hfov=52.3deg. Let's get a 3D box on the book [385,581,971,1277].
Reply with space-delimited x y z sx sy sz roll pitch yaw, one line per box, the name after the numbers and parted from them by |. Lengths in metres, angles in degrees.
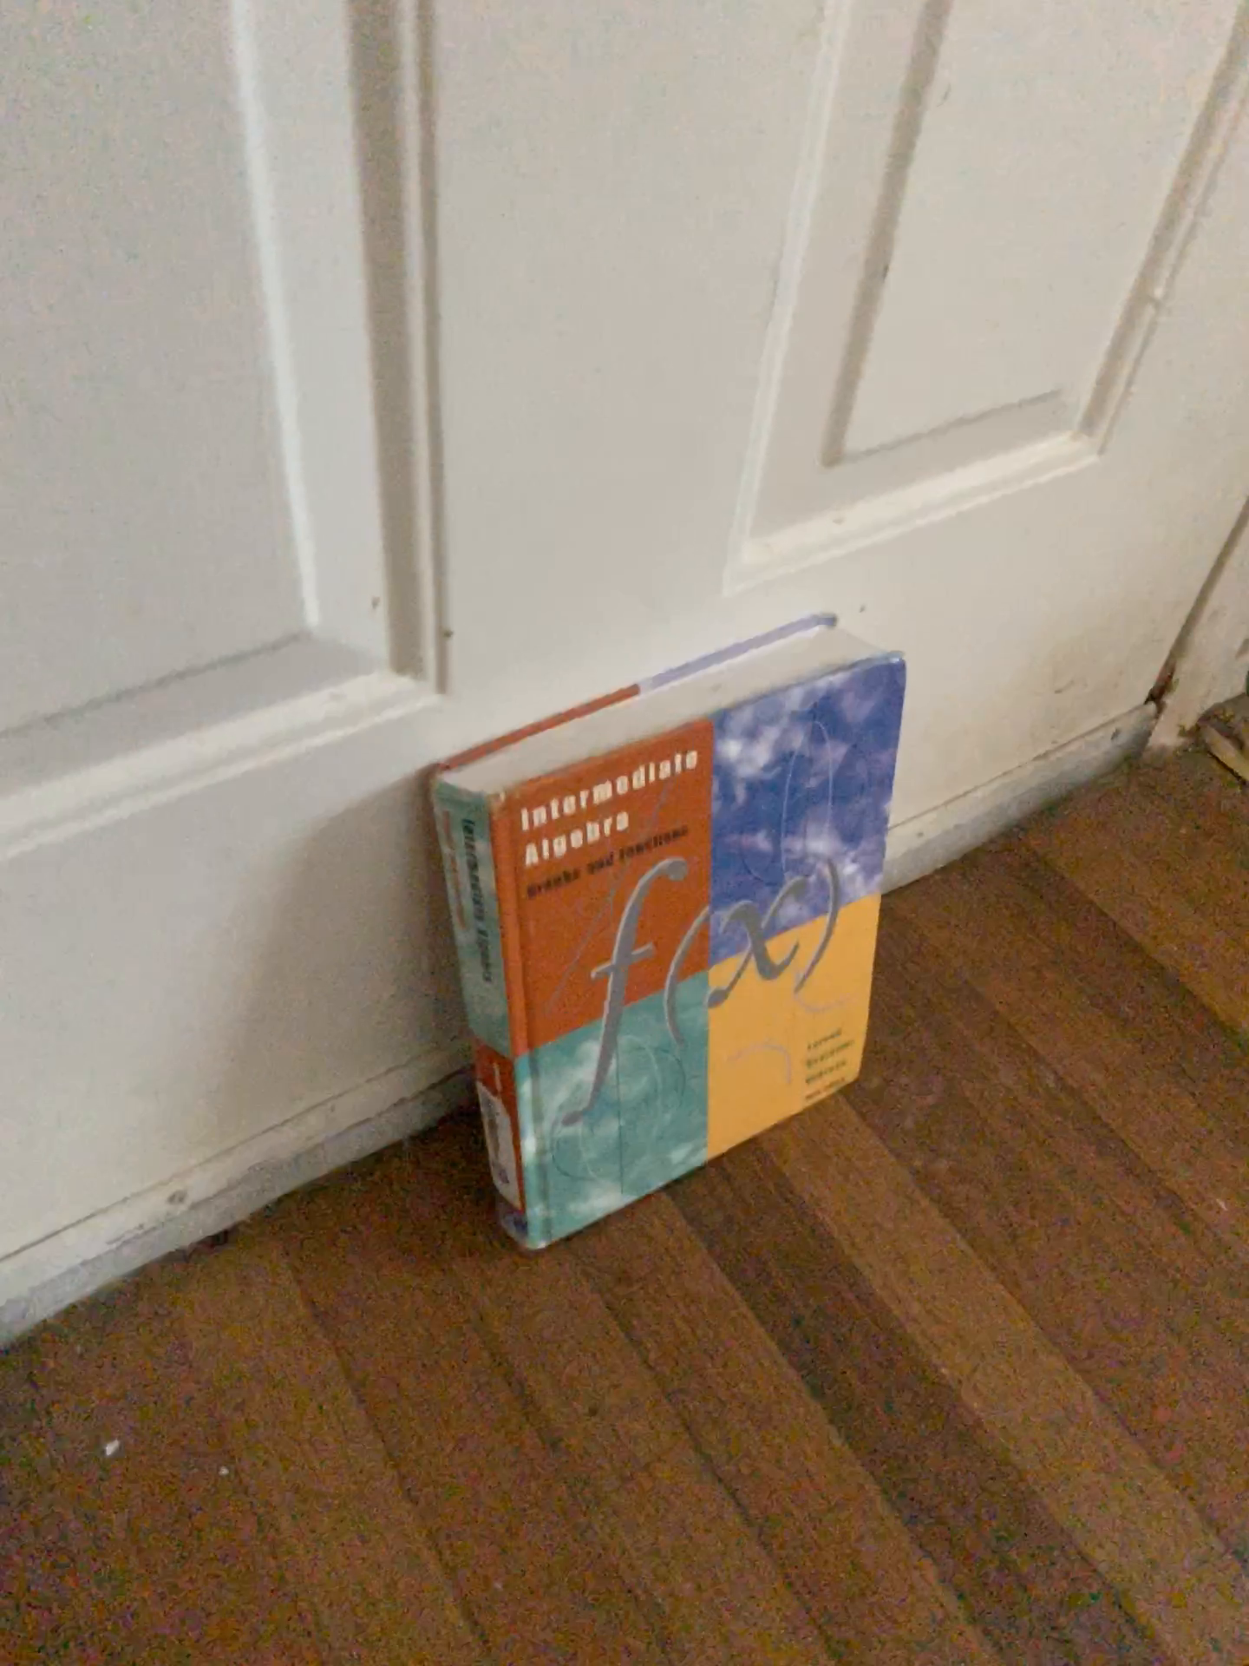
0.035 0.044 0.564 0.230 0.249 0.060 -21 38 -22 | book
